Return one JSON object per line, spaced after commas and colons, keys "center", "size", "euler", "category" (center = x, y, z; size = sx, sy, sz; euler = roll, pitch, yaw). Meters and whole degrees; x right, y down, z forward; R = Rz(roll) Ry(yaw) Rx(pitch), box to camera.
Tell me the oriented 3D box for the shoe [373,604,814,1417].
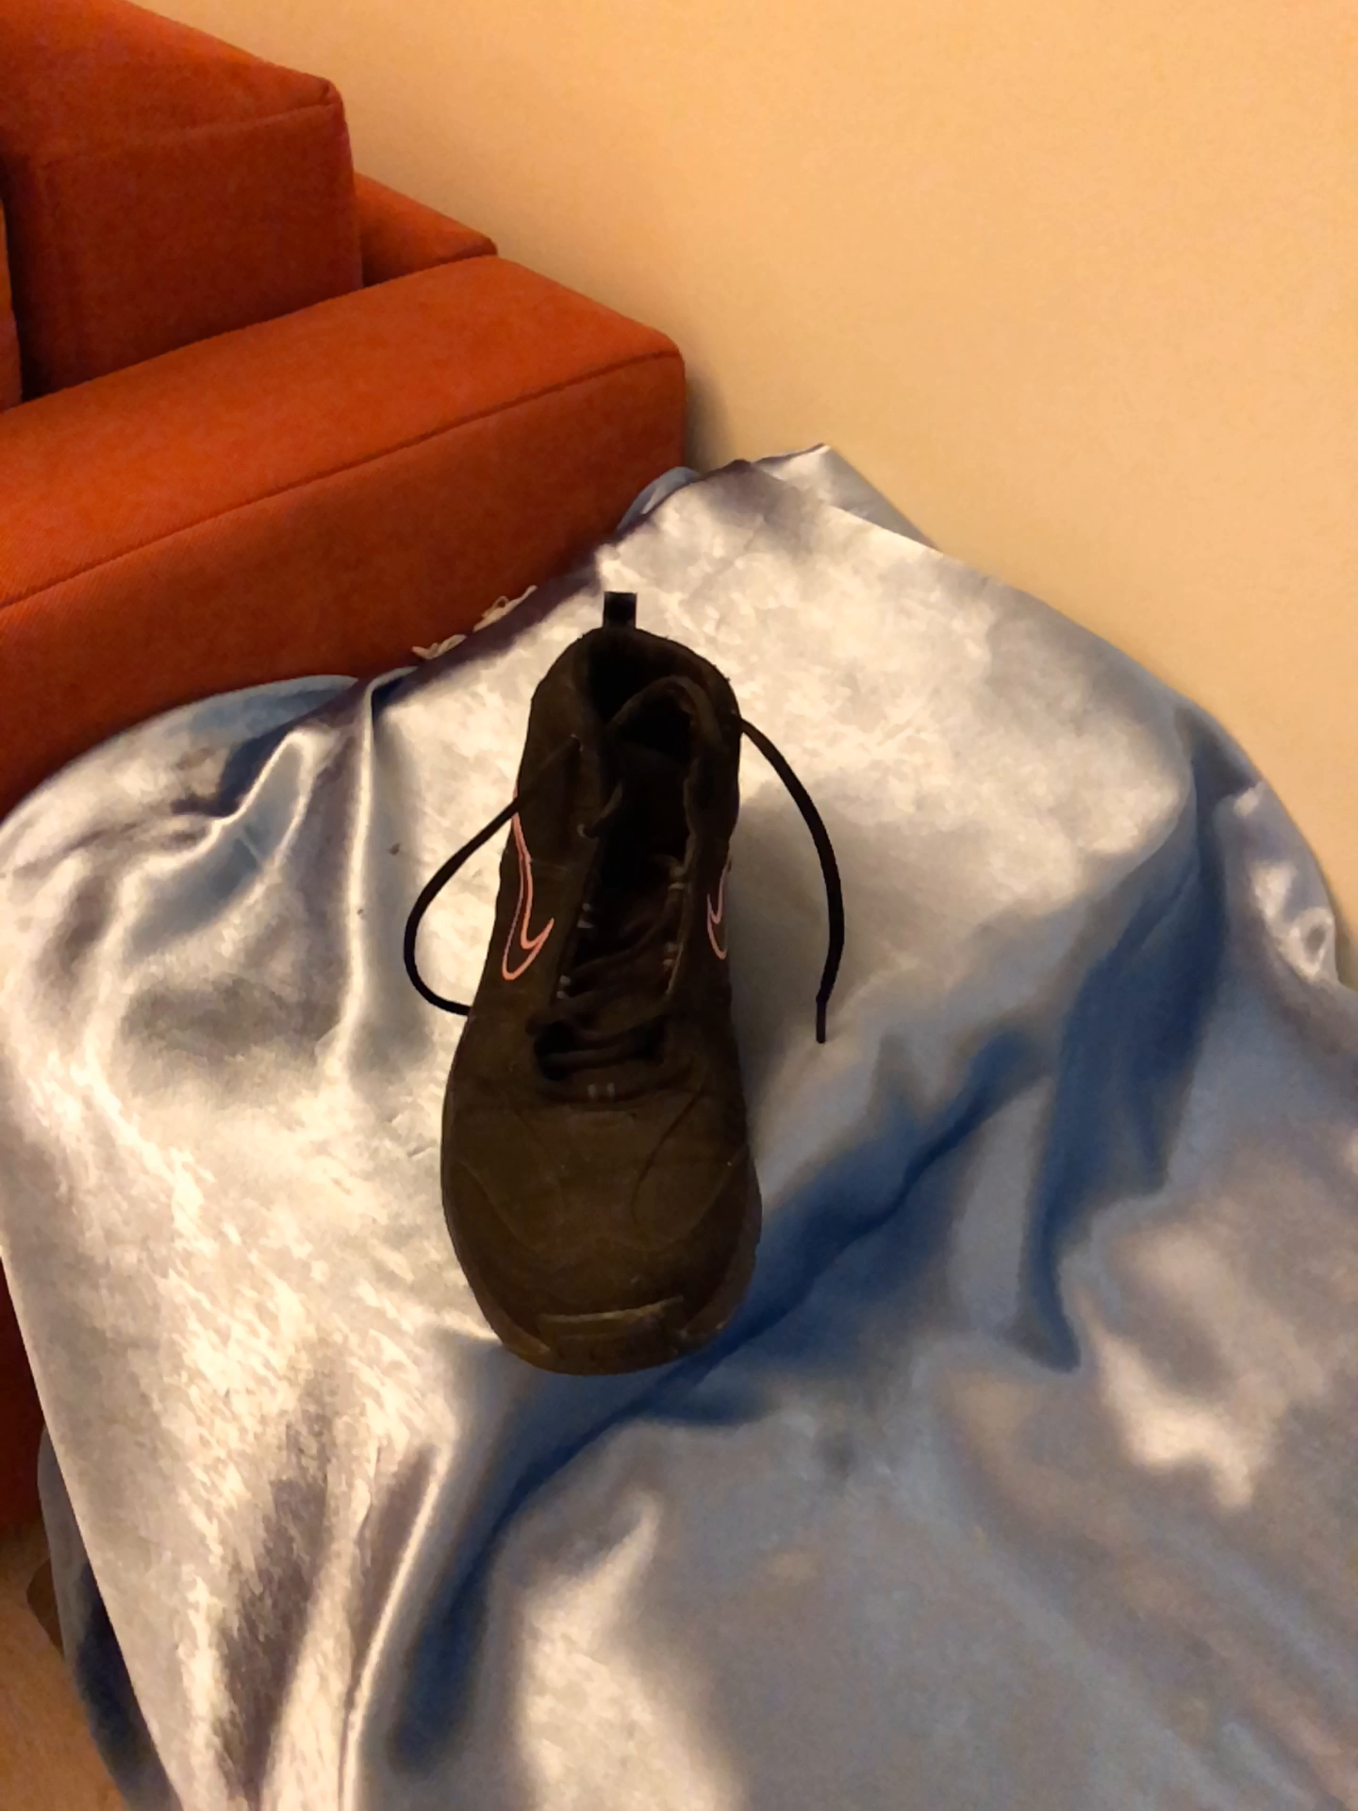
{"center": [-0.024, 0.020, 0.489], "size": [0.107, 0.099, 0.262], "euler": [1, 46, -2], "category": "shoe"}
